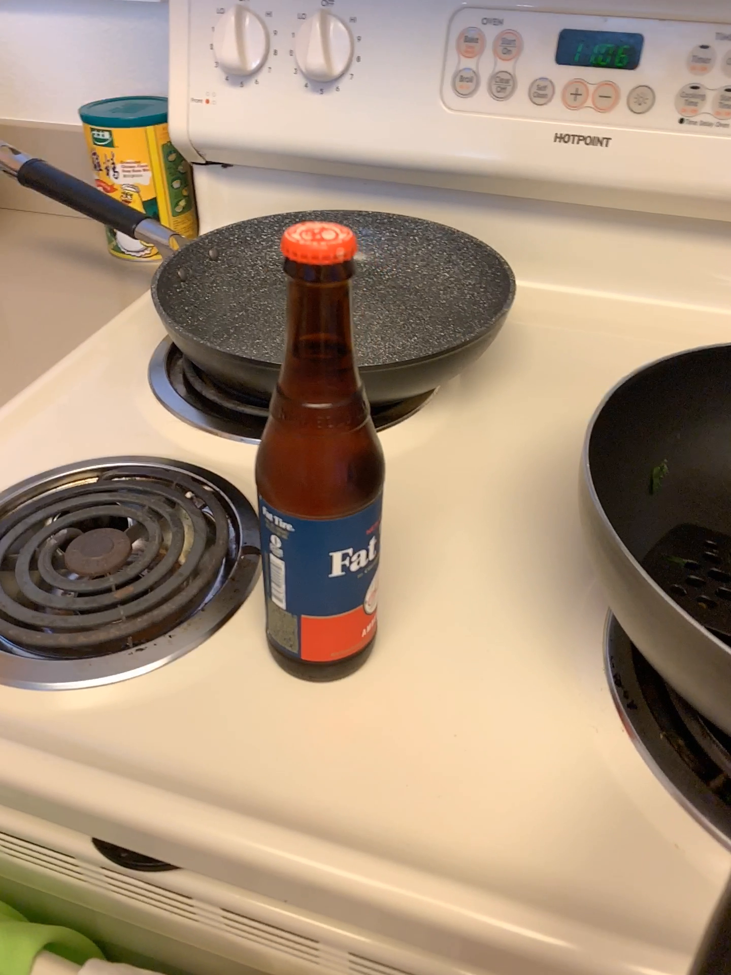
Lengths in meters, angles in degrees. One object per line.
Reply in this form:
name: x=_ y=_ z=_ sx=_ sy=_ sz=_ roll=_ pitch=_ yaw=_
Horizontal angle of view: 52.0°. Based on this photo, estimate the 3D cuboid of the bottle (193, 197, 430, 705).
bottle: x=-0.020 y=-0.005 z=0.336 sx=0.060 sy=0.219 sz=0.060 roll=1 pitch=38 yaw=0
